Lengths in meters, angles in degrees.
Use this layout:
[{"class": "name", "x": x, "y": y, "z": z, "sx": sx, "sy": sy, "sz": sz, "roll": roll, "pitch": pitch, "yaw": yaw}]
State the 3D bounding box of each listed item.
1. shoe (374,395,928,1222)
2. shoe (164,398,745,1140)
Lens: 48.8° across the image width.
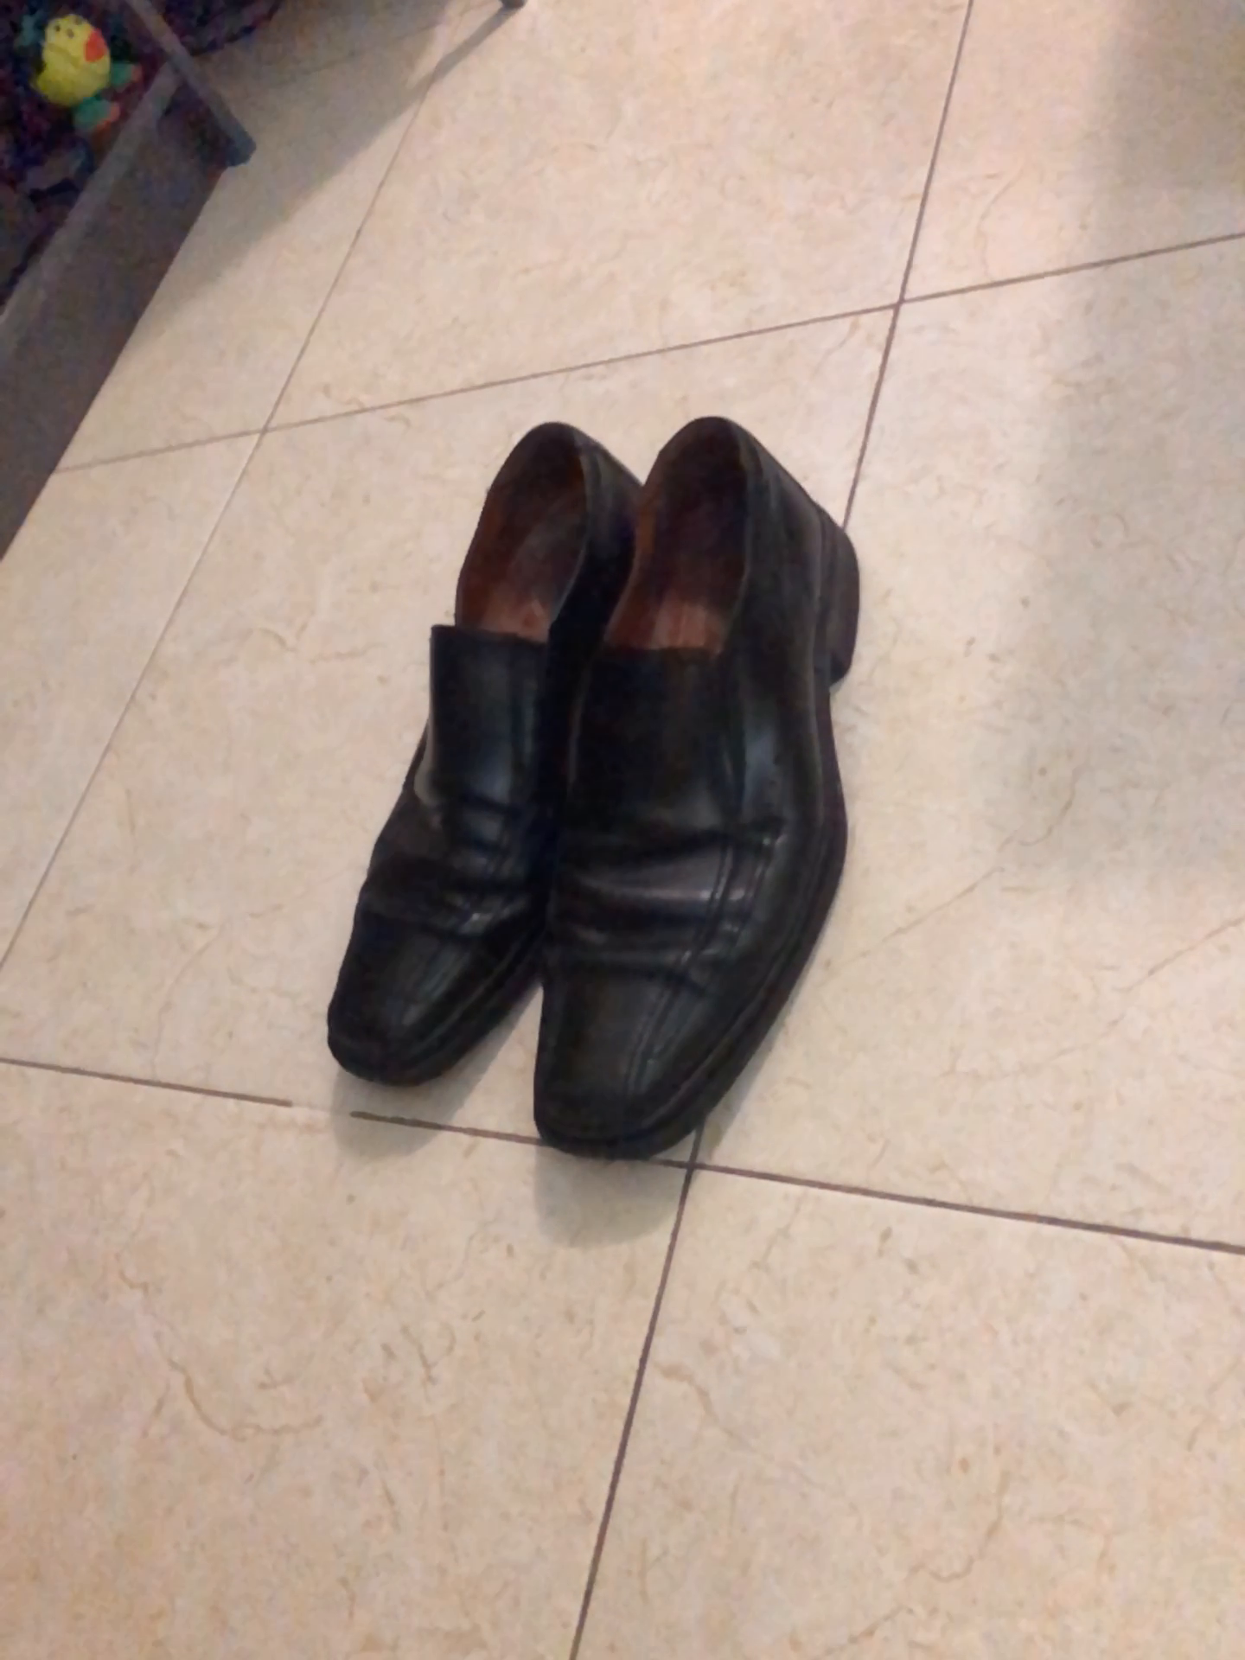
[{"class": "shoe", "x": 0.025, "y": -0.018, "z": 0.552, "sx": 0.120, "sy": 0.090, "sz": 0.310, "roll": 1, "pitch": 61, "yaw": 32}, {"class": "shoe", "x": -0.062, "y": -0.037, "z": 0.609, "sx": 0.120, "sy": 0.090, "sz": 0.310, "roll": 6, "pitch": 63, "yaw": 34}]
